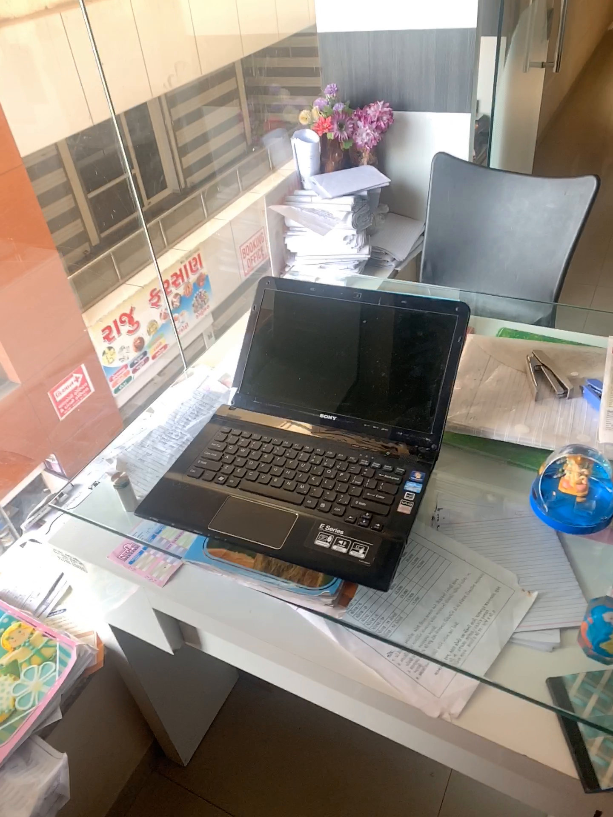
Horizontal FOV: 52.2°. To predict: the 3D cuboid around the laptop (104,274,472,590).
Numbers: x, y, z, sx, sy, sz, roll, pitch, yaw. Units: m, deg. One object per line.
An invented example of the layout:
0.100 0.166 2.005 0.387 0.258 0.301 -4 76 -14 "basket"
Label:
0.006 -0.007 0.704 0.286 0.111 0.337 12 42 21 "laptop"
